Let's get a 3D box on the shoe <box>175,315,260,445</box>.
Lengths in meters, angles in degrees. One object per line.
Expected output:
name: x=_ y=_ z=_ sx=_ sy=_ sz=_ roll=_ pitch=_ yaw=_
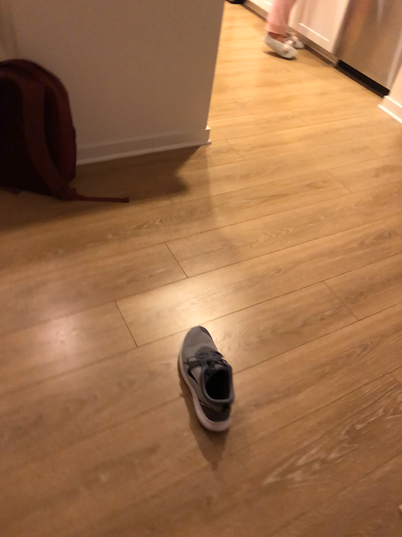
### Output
shoe: x=0.031 y=0.273 z=1.129 sx=0.140 sy=0.090 sz=0.301 roll=-4 pitch=47 yaw=-14
